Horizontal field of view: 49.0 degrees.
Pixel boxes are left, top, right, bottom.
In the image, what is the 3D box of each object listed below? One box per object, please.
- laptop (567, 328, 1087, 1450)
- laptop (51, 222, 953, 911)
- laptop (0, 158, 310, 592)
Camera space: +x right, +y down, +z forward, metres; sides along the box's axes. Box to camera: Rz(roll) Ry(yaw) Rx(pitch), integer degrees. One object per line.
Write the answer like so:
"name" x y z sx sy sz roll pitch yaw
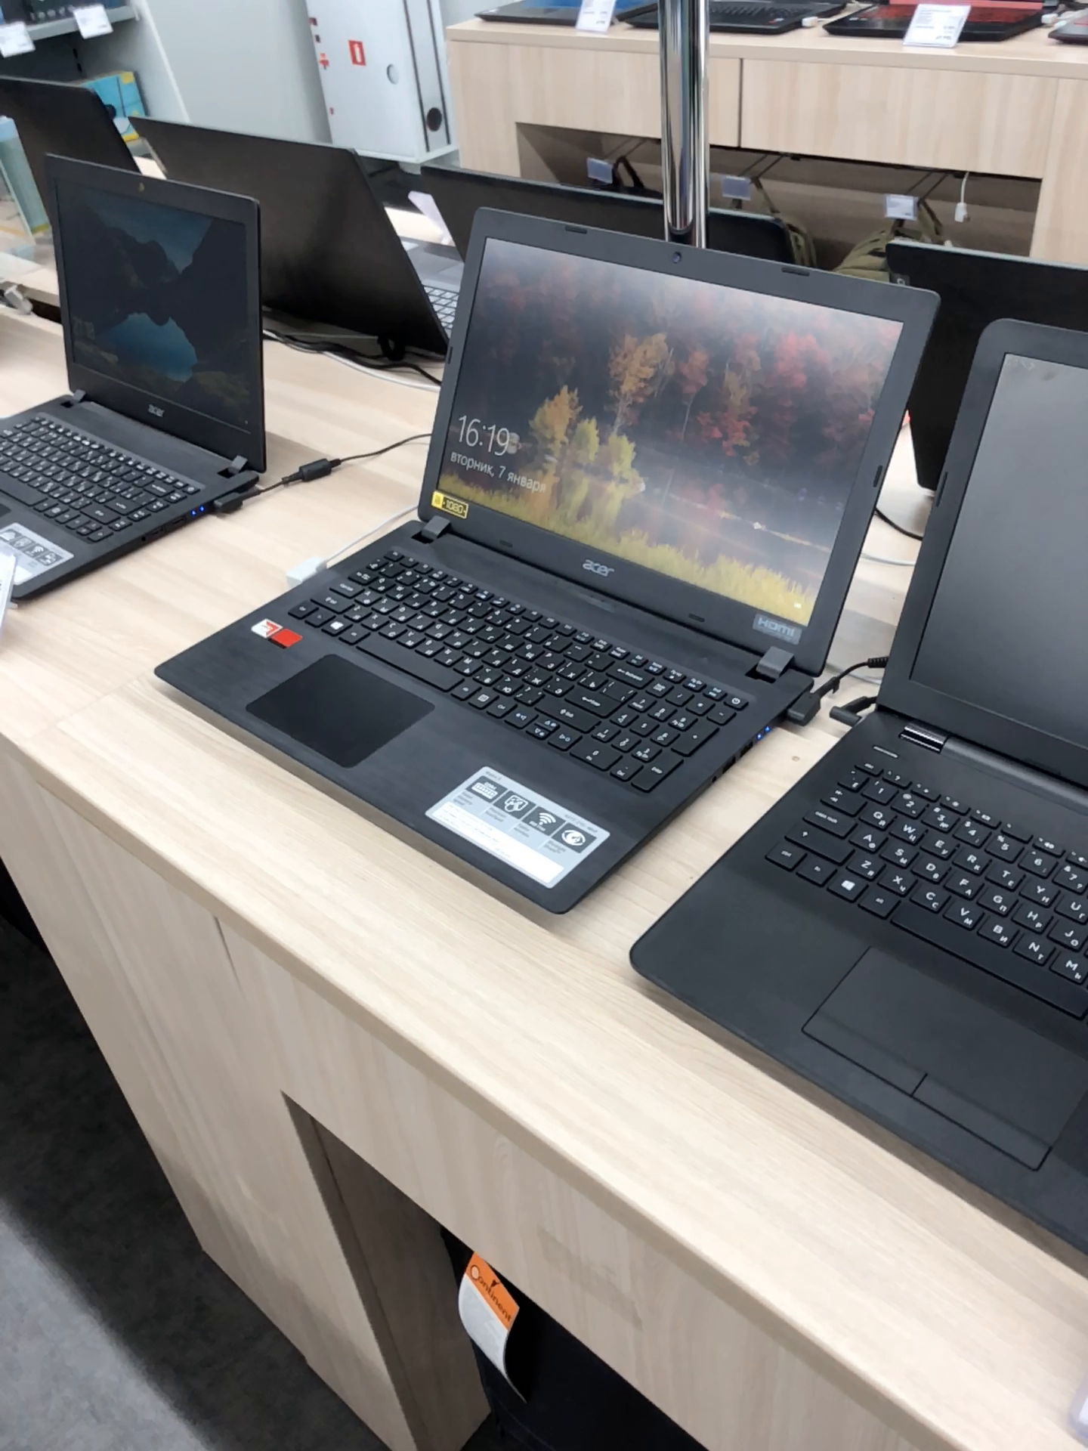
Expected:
"laptop" 0.283 0.017 0.522 0.378 0.212 0.339 28 49 35
"laptop" -0.017 -0.142 0.769 0.374 0.208 0.368 26 48 34
"laptop" -0.443 -0.327 1.052 0.307 0.214 0.301 27 50 34
